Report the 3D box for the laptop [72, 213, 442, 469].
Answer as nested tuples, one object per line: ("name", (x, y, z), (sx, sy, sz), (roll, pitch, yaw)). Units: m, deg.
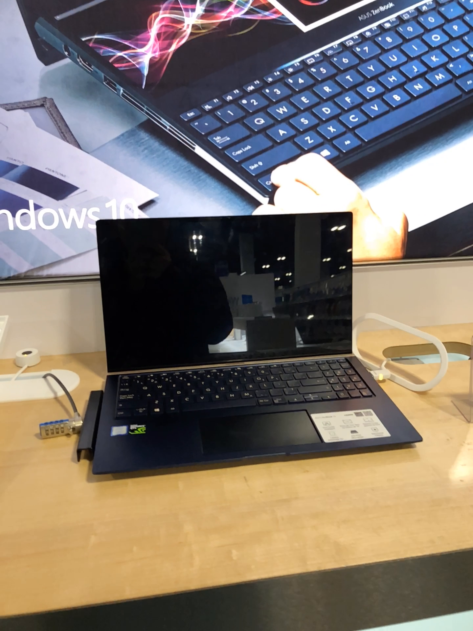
("laptop", (0.010, 0.005, 0.613), (0.336, 0.196, 0.250), (-4, 21, -7))
